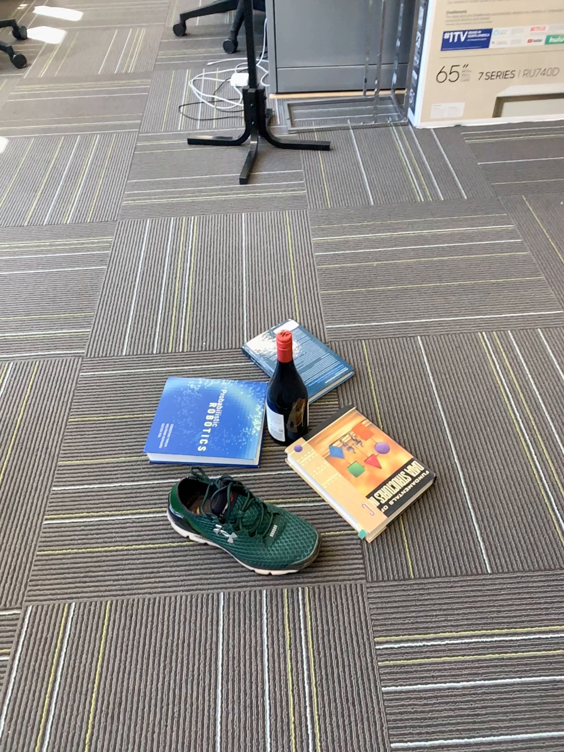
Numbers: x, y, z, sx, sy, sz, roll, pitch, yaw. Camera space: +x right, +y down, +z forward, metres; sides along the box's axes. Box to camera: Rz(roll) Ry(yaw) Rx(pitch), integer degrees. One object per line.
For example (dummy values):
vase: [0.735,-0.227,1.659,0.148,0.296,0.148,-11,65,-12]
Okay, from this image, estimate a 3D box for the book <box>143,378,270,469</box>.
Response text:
book: [-0.149,0.094,1.195,0.230,0.041,0.194,2,48,4]

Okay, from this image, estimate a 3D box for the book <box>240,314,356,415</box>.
book: [0.033,-0.032,1.301,0.156,0.034,0.221,-34,55,-19]

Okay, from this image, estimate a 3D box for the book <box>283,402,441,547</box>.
book: [0.149,0.179,1.105,0.189,0.041,0.231,-32,54,-24]
